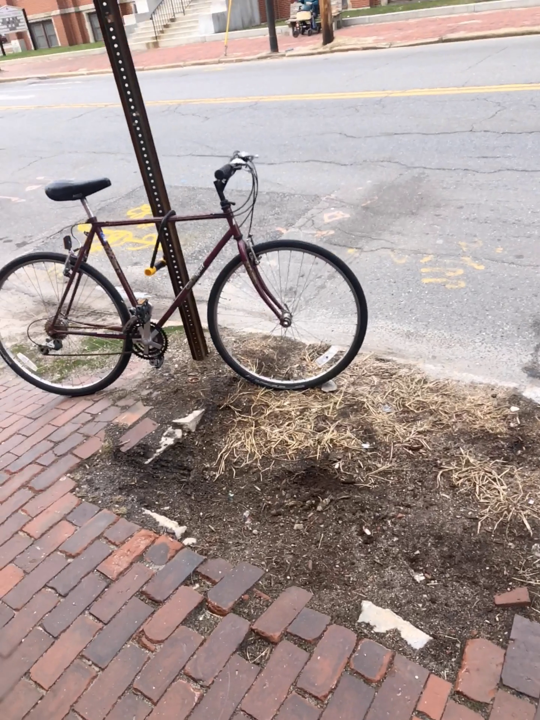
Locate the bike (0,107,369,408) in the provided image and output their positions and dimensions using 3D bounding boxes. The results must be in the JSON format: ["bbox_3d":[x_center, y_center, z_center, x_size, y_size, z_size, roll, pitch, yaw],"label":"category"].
[{"bbox_3d":[-0.443,-0.413,2.582,1.679,0.962,0.558,-5,31,10],"label":"bike"}]
